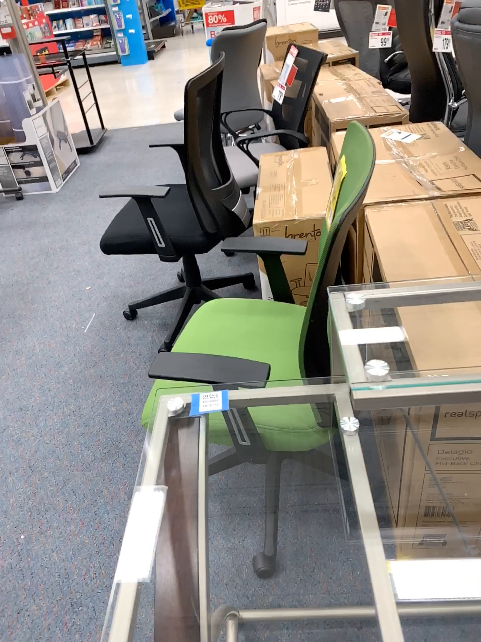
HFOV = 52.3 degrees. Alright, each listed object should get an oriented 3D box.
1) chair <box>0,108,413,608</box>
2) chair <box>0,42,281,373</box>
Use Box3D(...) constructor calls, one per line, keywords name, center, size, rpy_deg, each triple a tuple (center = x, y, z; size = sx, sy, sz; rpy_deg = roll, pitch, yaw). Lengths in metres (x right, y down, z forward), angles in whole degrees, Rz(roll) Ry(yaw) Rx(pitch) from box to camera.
Box3D(name="chair", center=(0.053, 0.073, 1.176), size=(0.598, 0.912, 0.647), rpy_deg=(4, 38, 16))
Box3D(name="chair", center=(-0.263, -0.415, 1.845), size=(0.658, 0.972, 0.647), rpy_deg=(4, 38, 16))
